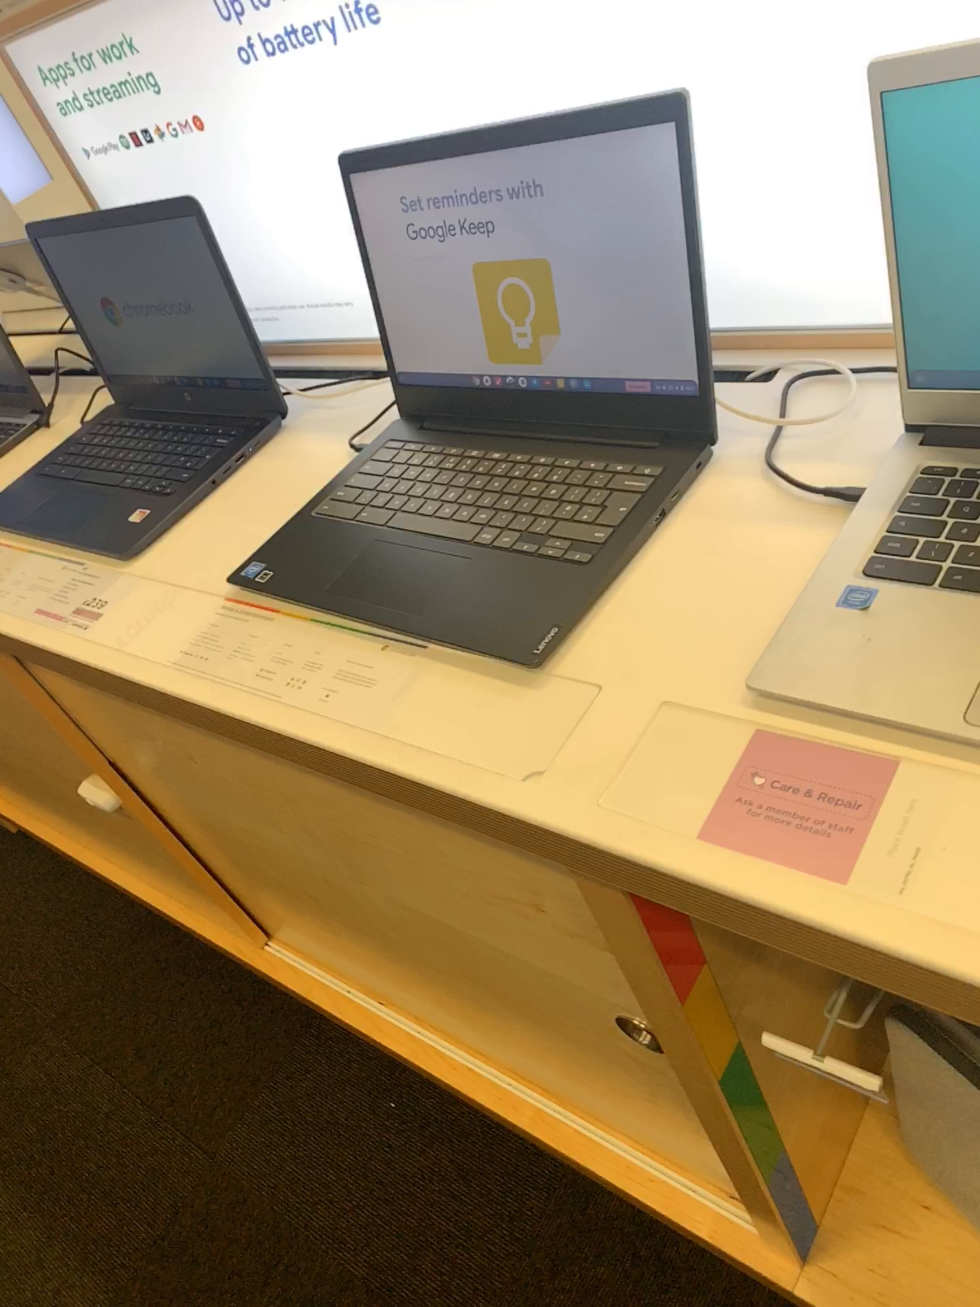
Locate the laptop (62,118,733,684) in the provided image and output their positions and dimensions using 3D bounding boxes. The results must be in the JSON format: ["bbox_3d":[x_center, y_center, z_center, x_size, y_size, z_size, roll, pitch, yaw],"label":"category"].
[{"bbox_3d":[-0.057,-0.183,0.700,0.317,0.201,0.281,15,54,40],"label":"laptop"}]
